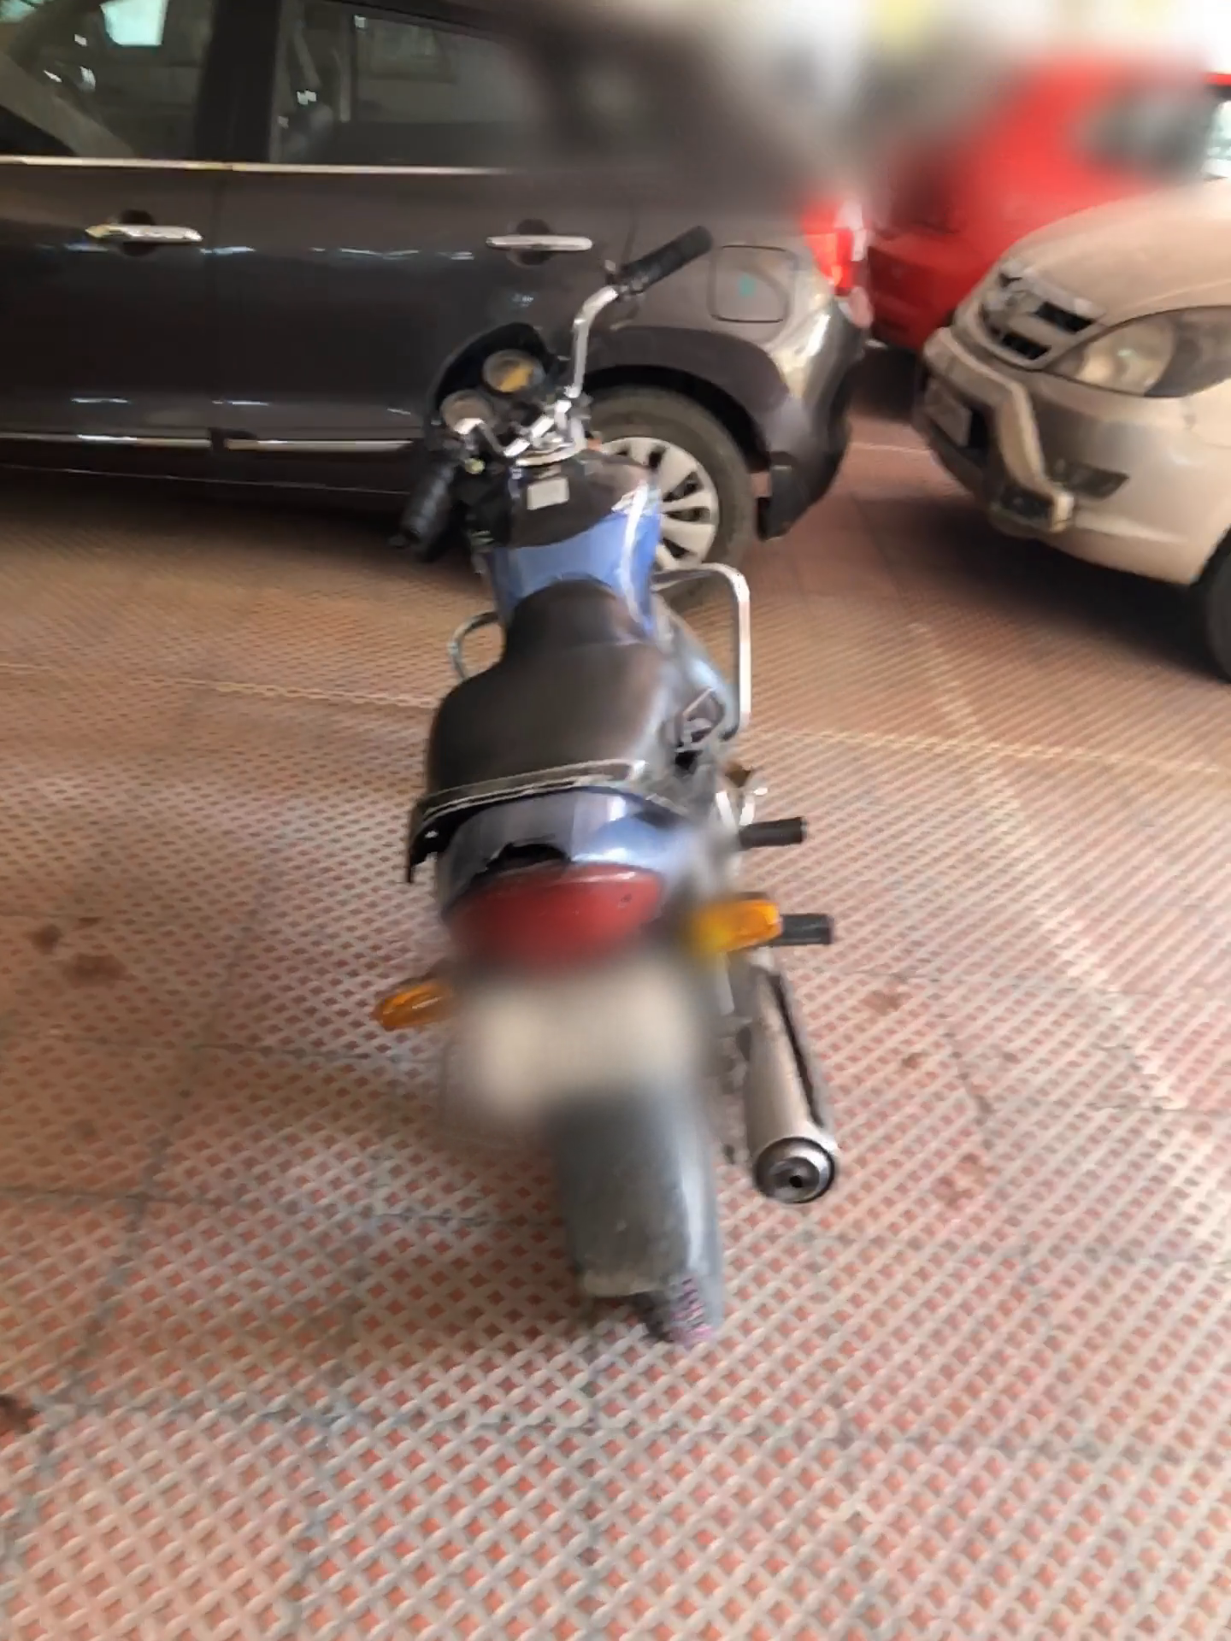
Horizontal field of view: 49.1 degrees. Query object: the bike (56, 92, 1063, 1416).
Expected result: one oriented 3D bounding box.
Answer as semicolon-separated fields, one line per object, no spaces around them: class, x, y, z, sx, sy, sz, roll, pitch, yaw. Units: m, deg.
bike;-0.232;-0.274;1.934;0.733;1.072;1.698;-1;35;-11
